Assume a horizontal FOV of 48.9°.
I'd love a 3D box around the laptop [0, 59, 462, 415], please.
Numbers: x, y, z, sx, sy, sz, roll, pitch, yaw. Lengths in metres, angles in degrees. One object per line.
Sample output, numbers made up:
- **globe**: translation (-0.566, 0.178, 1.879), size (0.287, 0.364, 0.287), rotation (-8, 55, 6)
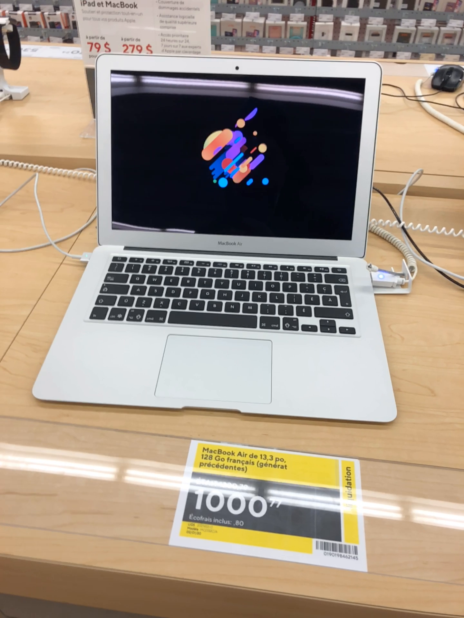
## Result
- **laptop**: translation (-0.006, -0.091, 0.493), size (0.305, 0.186, 0.326), rotation (3, 41, 1)
